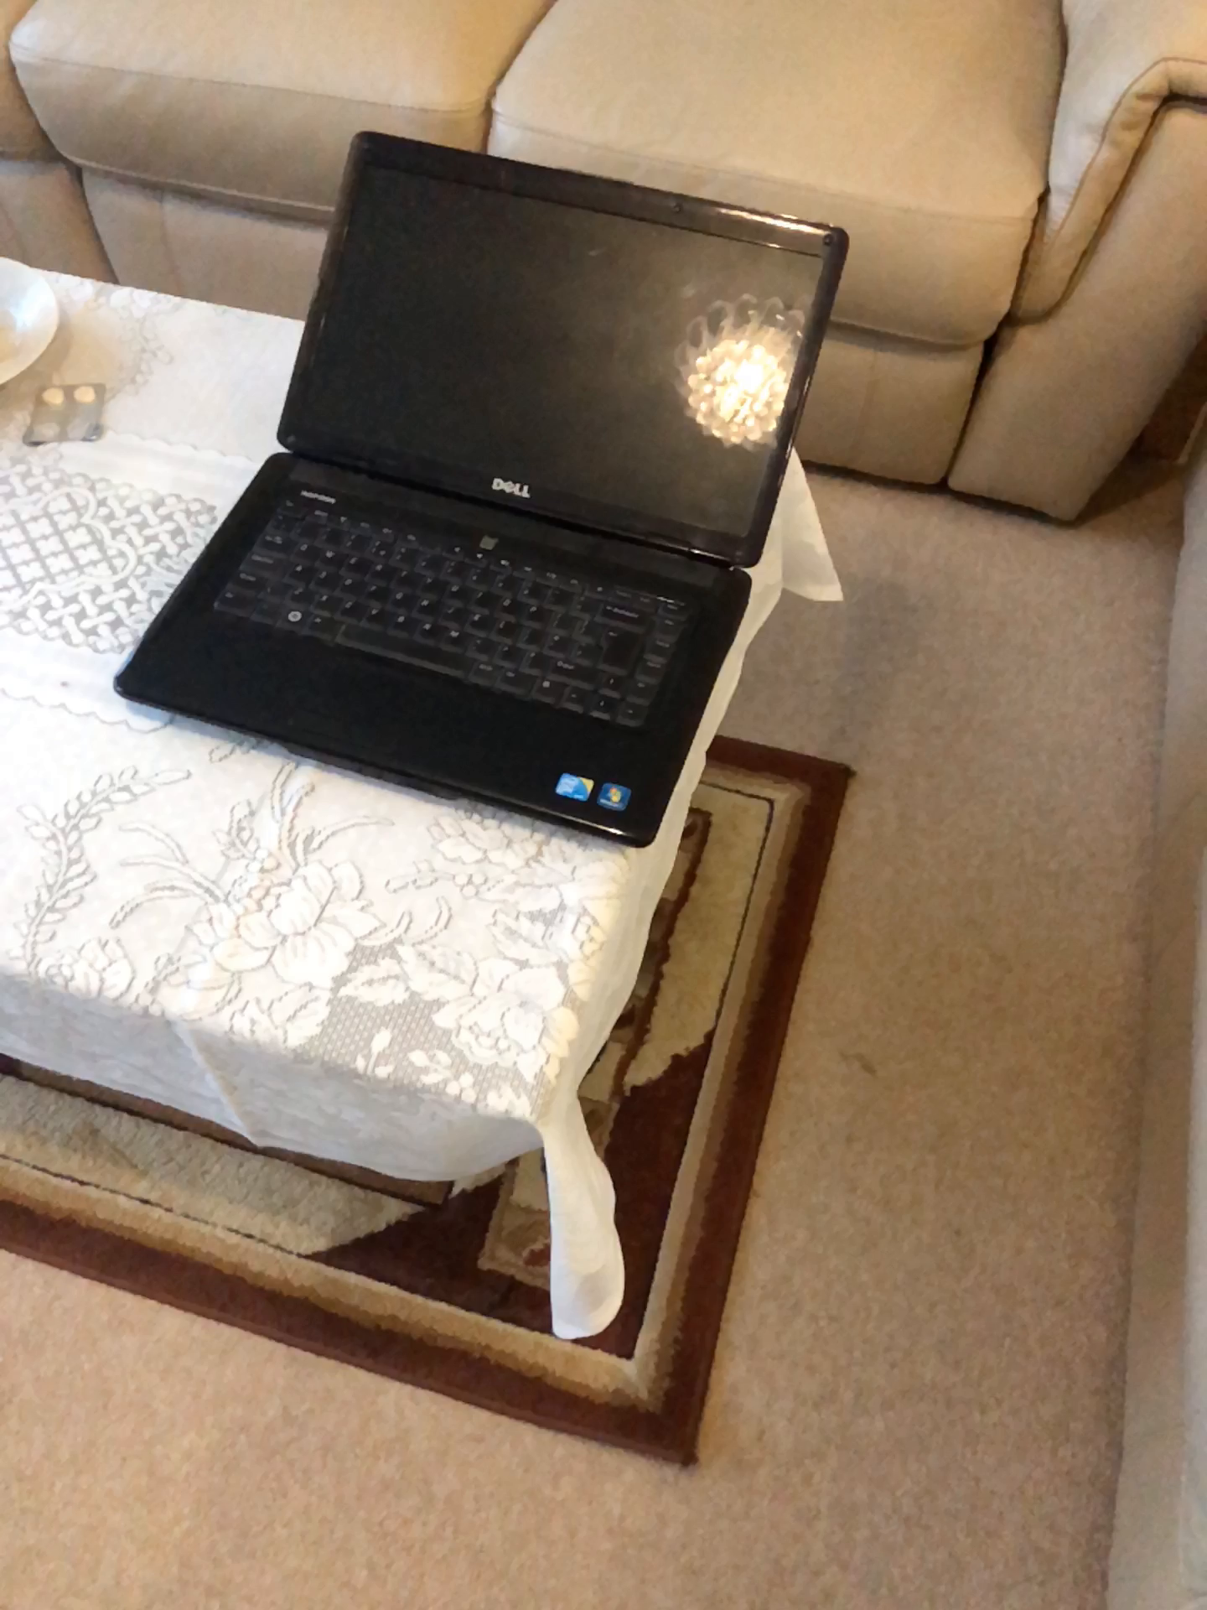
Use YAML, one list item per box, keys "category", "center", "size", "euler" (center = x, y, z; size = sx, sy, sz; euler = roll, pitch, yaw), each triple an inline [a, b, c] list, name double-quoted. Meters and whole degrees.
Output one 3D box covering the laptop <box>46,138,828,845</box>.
- category: "laptop"
  center: [-0.083, -0.231, 0.879]
  size: [0.364, 0.122, 0.420]
  euler: [16, 61, 10]
